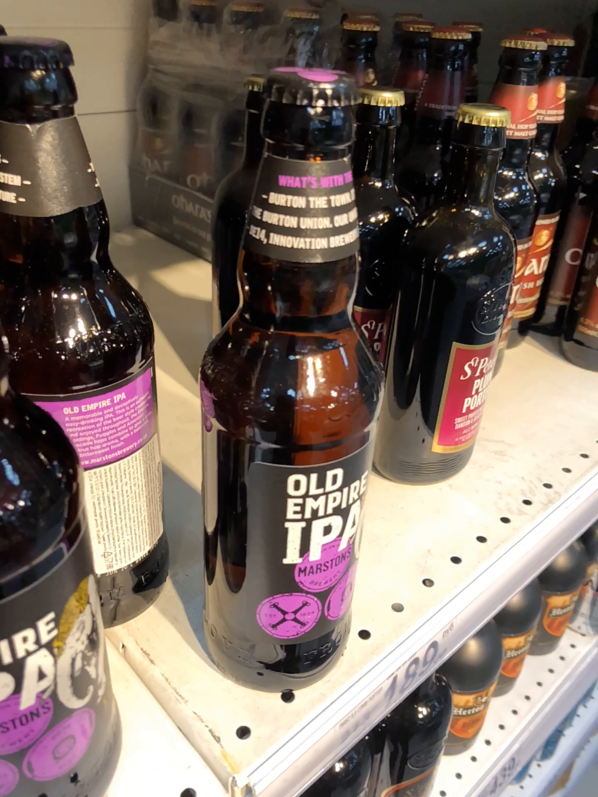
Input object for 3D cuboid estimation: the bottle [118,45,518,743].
[{"bbox_3d":[-0.002,0.006,0.249,0.080,0.239,0.080,3,32,-2],"label":"bottle"}]
